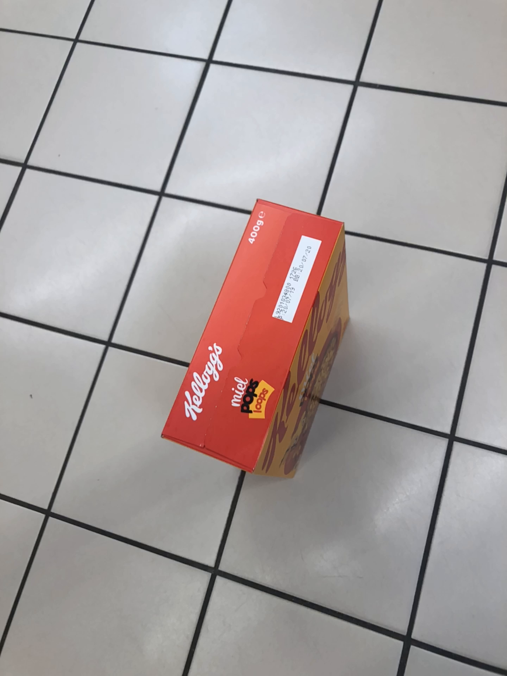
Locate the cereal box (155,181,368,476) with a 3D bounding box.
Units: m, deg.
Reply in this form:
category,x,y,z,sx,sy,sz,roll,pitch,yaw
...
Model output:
category,x,y,z,sx,sy,sz,roll,pitch,yaw
cereal box,0.025,0.015,0.502,0.090,0.240,0.190,17,79,13
